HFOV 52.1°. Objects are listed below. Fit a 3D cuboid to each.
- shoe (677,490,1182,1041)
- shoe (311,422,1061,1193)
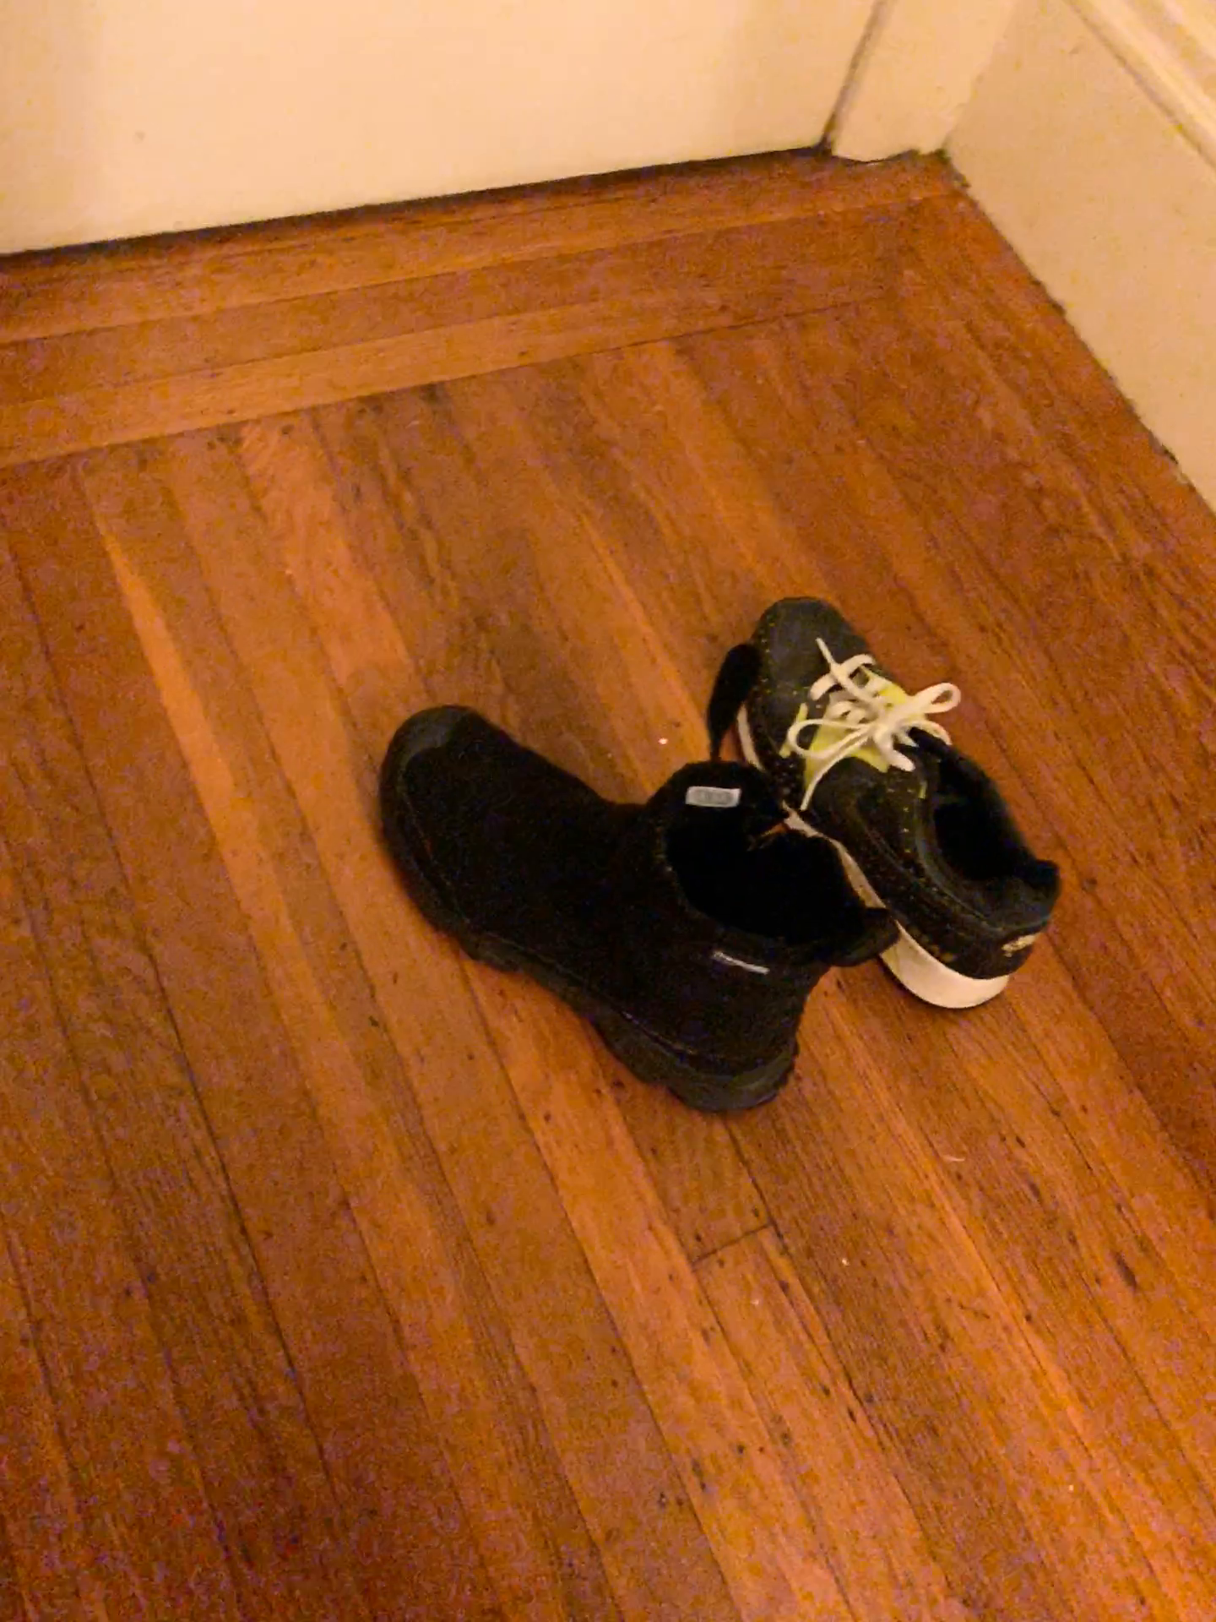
[{"bbox_3d":[0.176,-0.032,0.732,0.120,0.100,0.290,-23,71,-23],"label":"shoe"},{"bbox_3d":[0.014,0.012,0.654,0.310,0.239,0.160,41,62,8],"label":"shoe"}]
